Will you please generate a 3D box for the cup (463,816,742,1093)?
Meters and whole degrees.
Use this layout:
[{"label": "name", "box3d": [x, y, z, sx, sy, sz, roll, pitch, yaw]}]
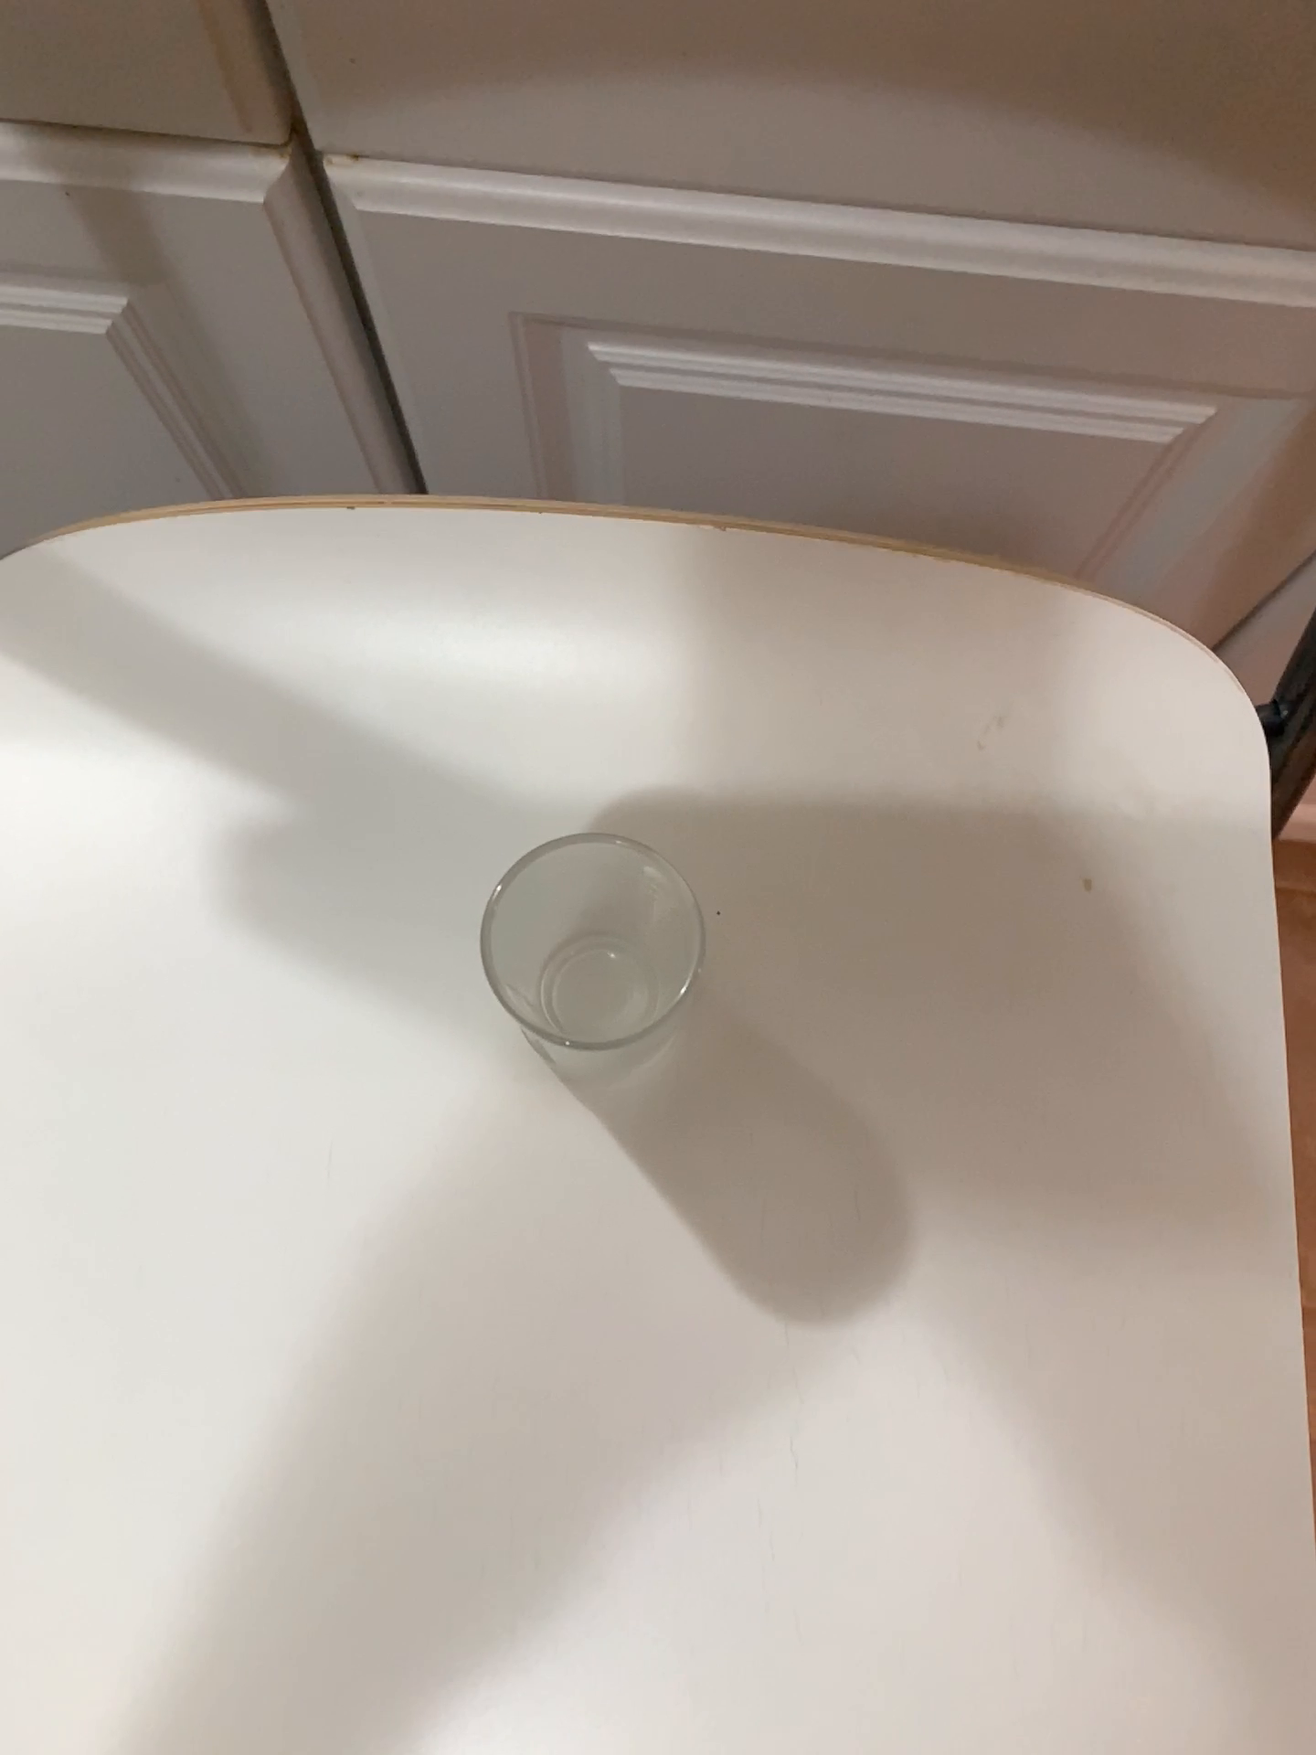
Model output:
[{"label": "cup", "box3d": [-0.010, 0.020, 0.291, 0.049, 0.076, 0.042, 4, 75, 1]}]
